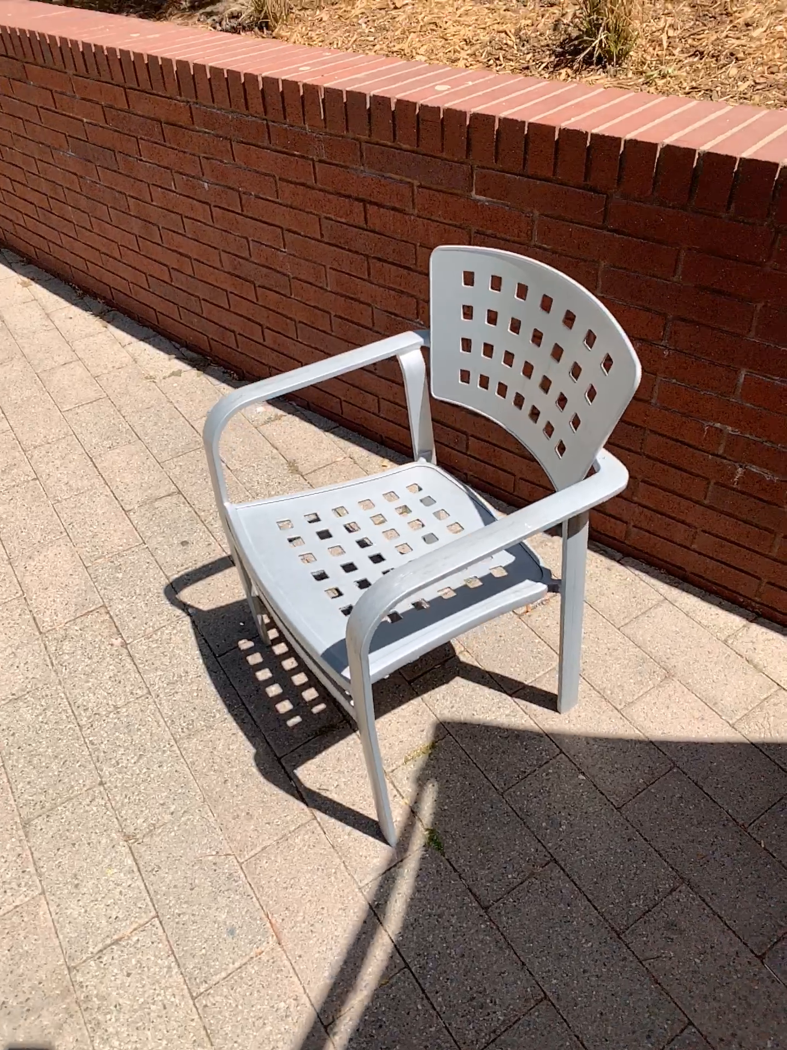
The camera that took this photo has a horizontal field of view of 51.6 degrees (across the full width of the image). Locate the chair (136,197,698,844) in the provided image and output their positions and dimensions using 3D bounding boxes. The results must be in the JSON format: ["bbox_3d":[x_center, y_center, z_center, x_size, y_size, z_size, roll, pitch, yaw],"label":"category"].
[{"bbox_3d":[0.014,-0.028,1.282,0.498,0.698,0.564,-24,45,-22],"label":"chair"}]
